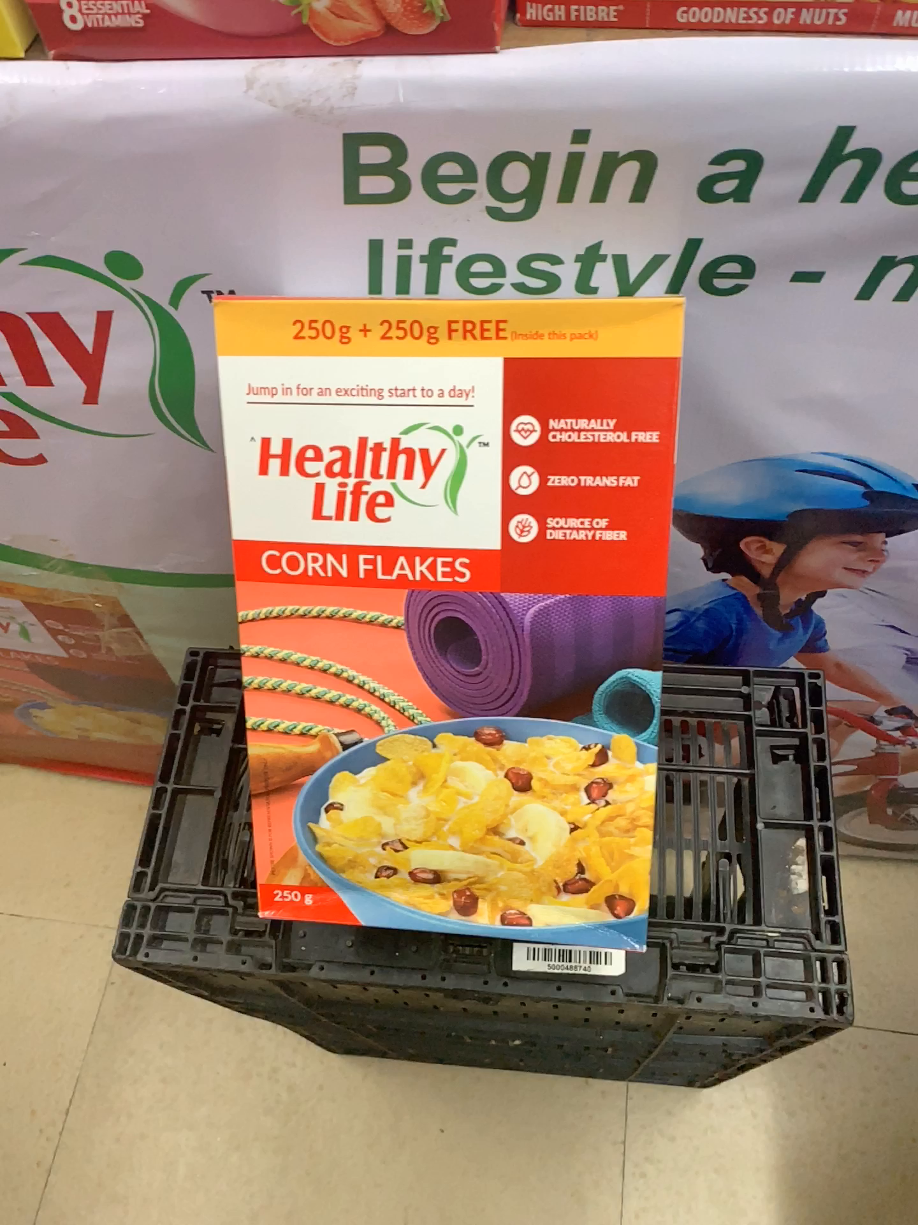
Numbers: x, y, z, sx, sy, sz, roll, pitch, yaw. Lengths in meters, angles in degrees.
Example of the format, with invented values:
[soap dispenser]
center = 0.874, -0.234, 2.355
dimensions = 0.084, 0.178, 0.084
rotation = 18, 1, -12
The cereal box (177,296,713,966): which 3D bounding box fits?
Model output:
[cereal box]
center = -0.003, 0.004, 0.430
dimensions = 0.200, 0.280, 0.090
rotation = 3, 17, 8
